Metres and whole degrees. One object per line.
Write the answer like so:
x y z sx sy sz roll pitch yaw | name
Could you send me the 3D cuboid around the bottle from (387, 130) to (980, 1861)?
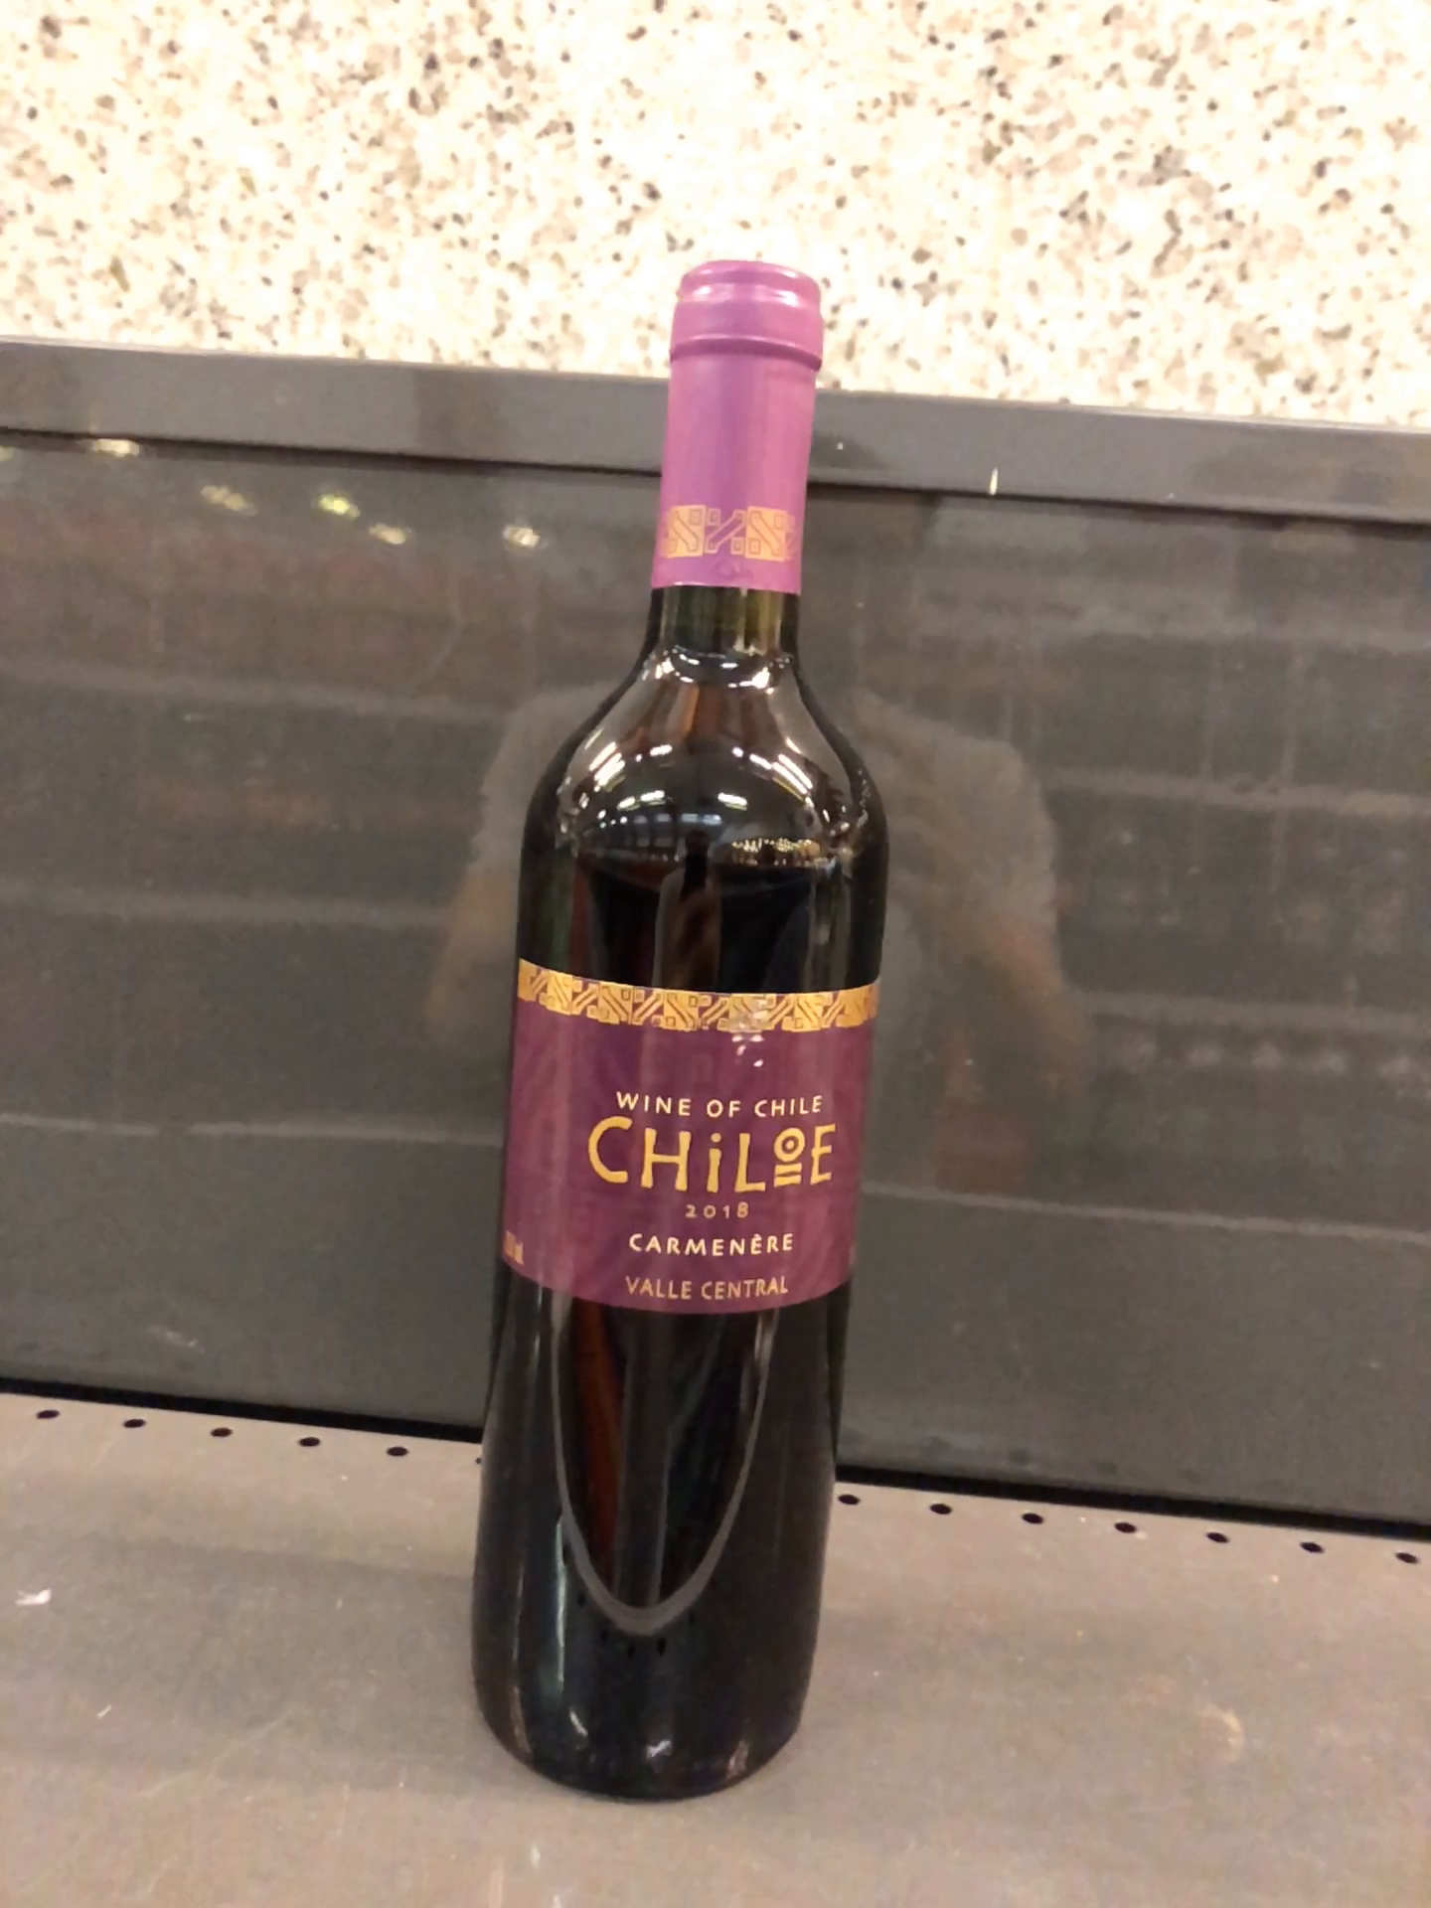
-0.017 0.016 0.333 0.090 0.319 0.080 2 11 -12 | bottle
